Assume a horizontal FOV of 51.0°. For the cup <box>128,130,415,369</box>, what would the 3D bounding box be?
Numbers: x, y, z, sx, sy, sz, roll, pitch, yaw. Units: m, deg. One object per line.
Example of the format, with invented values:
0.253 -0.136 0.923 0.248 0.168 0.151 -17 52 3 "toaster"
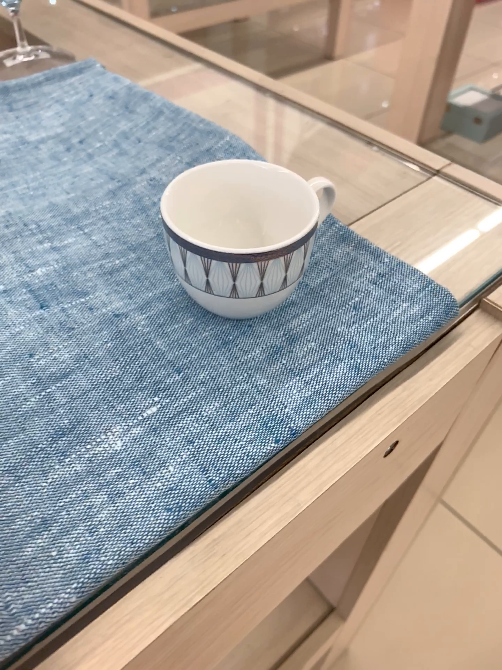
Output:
0.009 -0.042 0.222 0.090 0.040 0.070 -33 55 -29 "cup"
